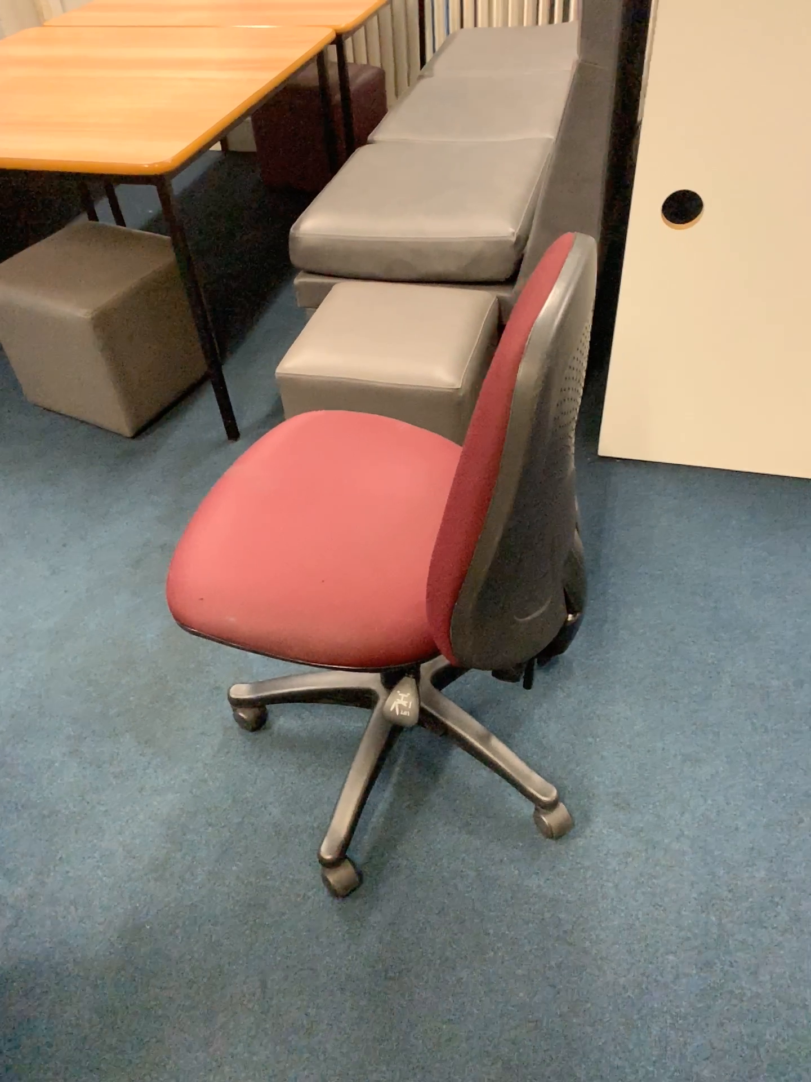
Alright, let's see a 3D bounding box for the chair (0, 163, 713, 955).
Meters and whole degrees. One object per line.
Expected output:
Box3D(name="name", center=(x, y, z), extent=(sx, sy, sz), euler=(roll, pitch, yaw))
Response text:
Box3D(name="chair", center=(-0.023, 0.000, 1.187), extent=(0.691, 0.782, 0.655), euler=(11, 45, 17))
